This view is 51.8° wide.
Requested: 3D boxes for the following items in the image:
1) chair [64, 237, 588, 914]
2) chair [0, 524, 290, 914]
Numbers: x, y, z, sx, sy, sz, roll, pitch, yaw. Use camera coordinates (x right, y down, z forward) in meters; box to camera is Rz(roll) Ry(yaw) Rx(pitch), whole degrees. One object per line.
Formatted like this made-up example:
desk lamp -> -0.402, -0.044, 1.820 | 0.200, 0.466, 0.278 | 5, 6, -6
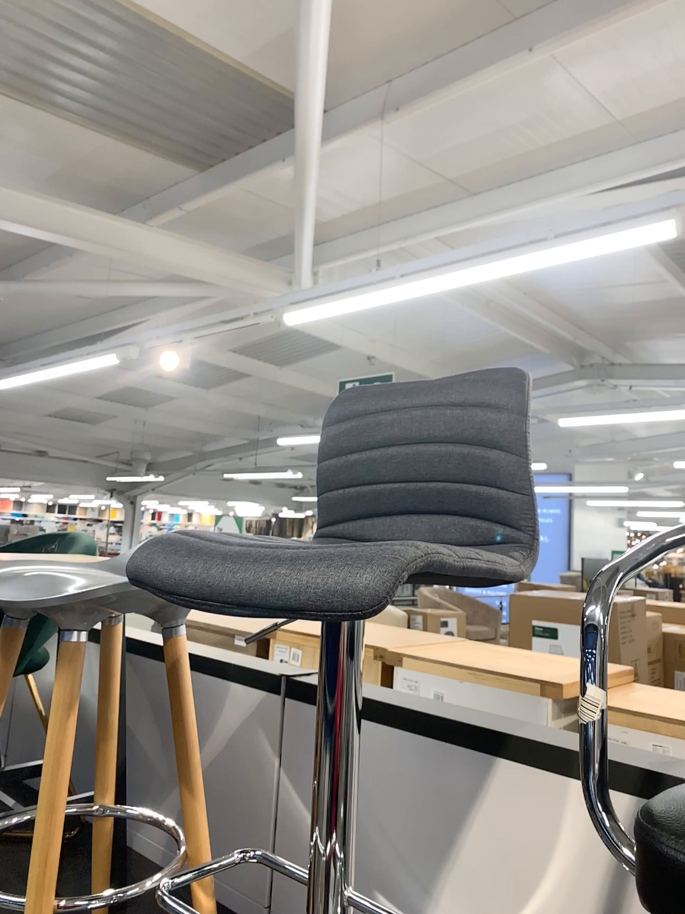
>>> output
chair -> 0.020, 0.333, 0.928 | 0.445, 1.034, 0.451 | -4, -11, 38
chair -> -0.427, 0.500, 1.170 | 0.445, 0.743, 0.451 | -4, -11, 38
